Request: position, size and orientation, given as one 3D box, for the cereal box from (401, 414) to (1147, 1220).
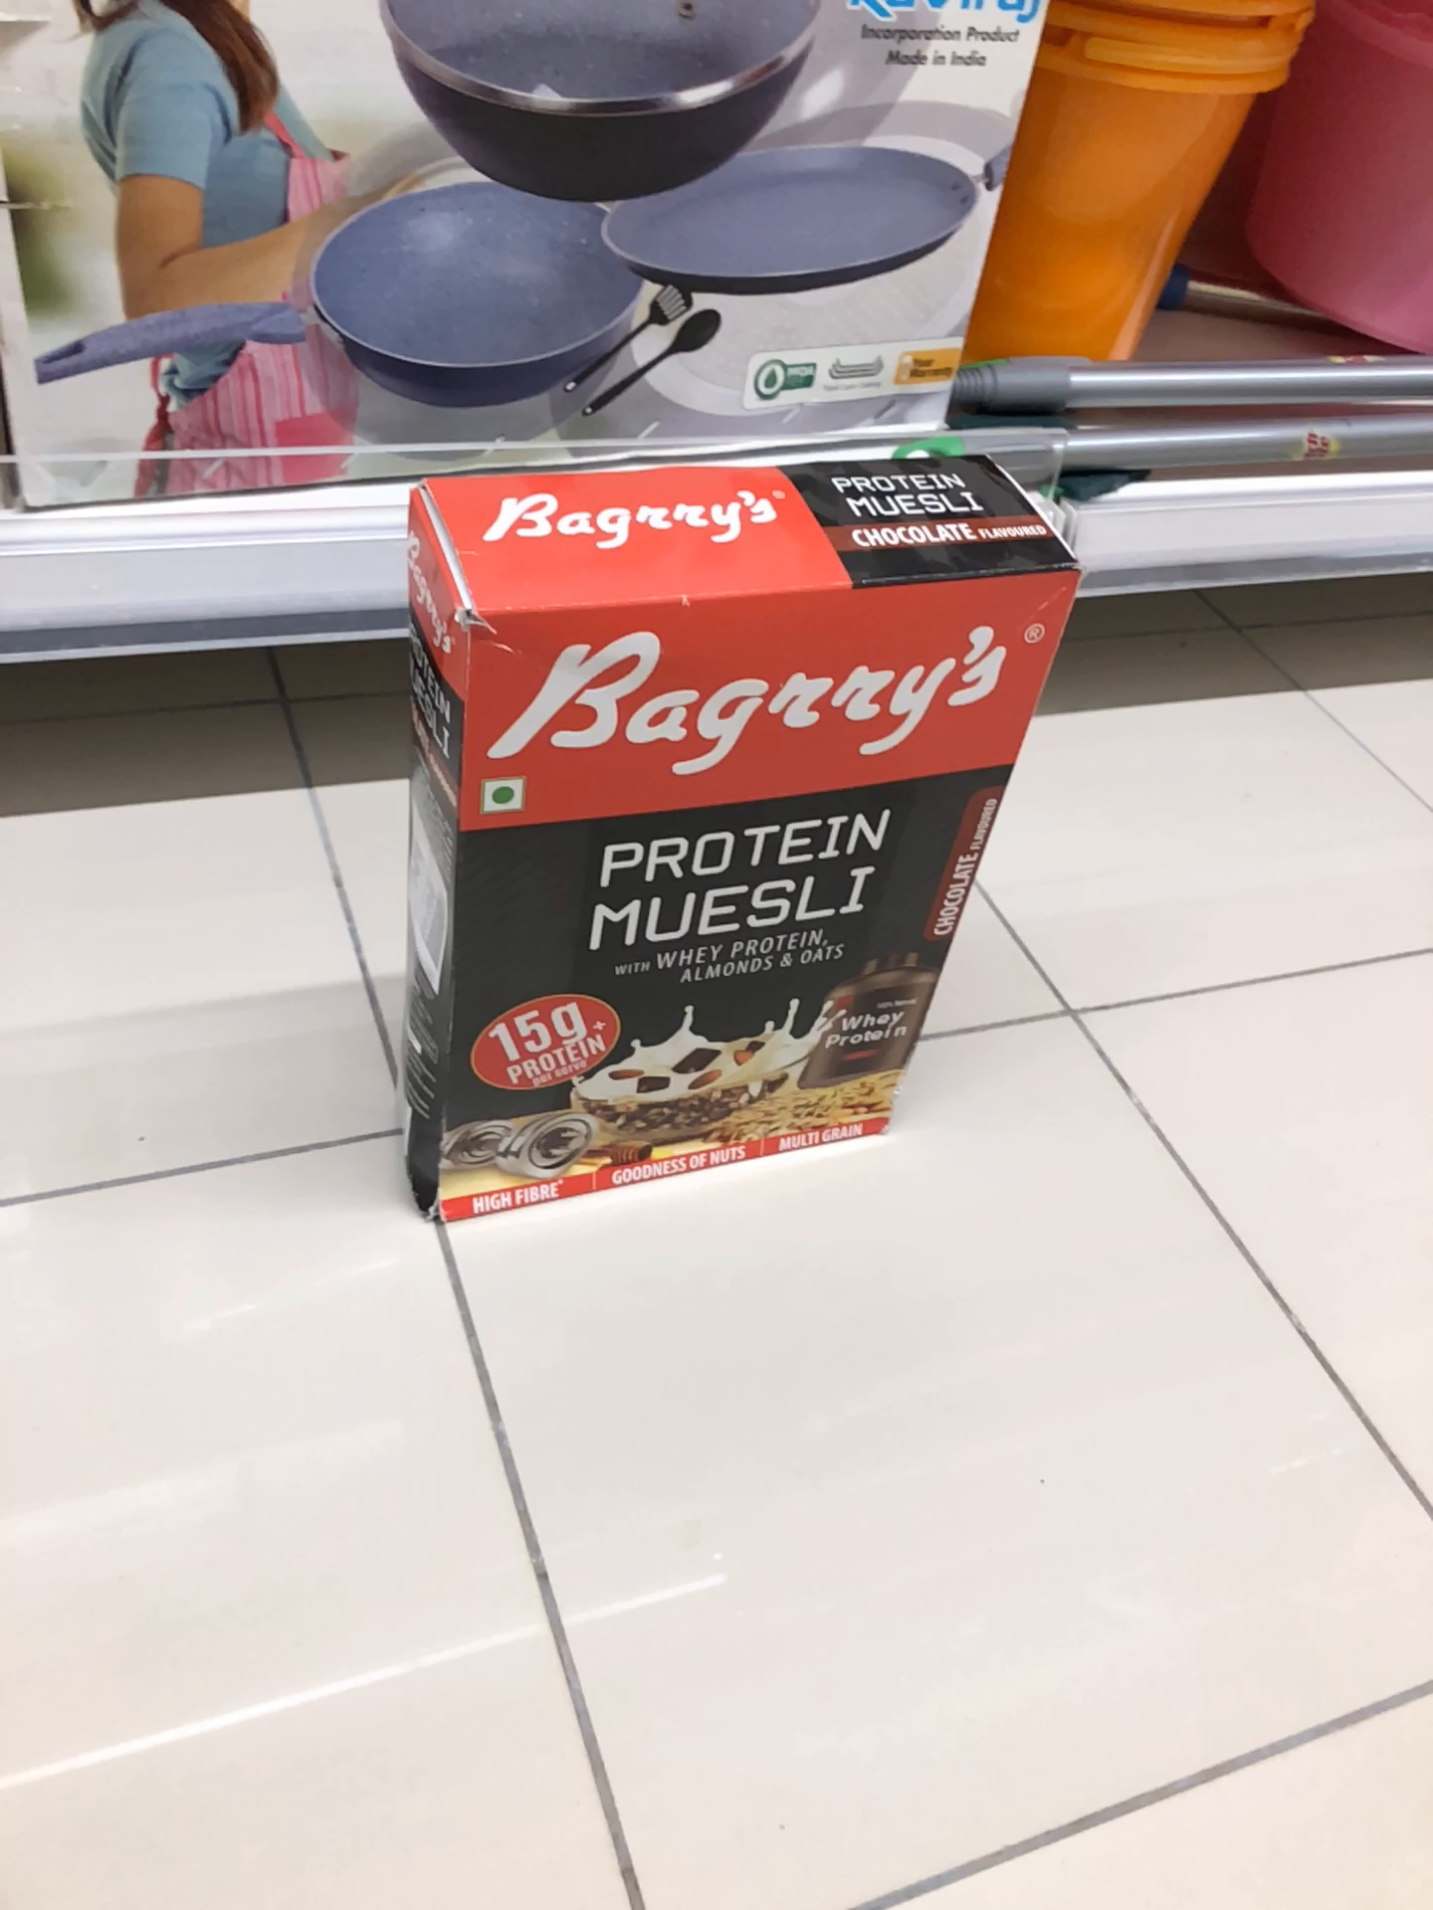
[{"bbox_3d":[0.002,-0.040,0.510,0.191,0.238,0.080,-9,44,-20],"label":"cereal box"}]
